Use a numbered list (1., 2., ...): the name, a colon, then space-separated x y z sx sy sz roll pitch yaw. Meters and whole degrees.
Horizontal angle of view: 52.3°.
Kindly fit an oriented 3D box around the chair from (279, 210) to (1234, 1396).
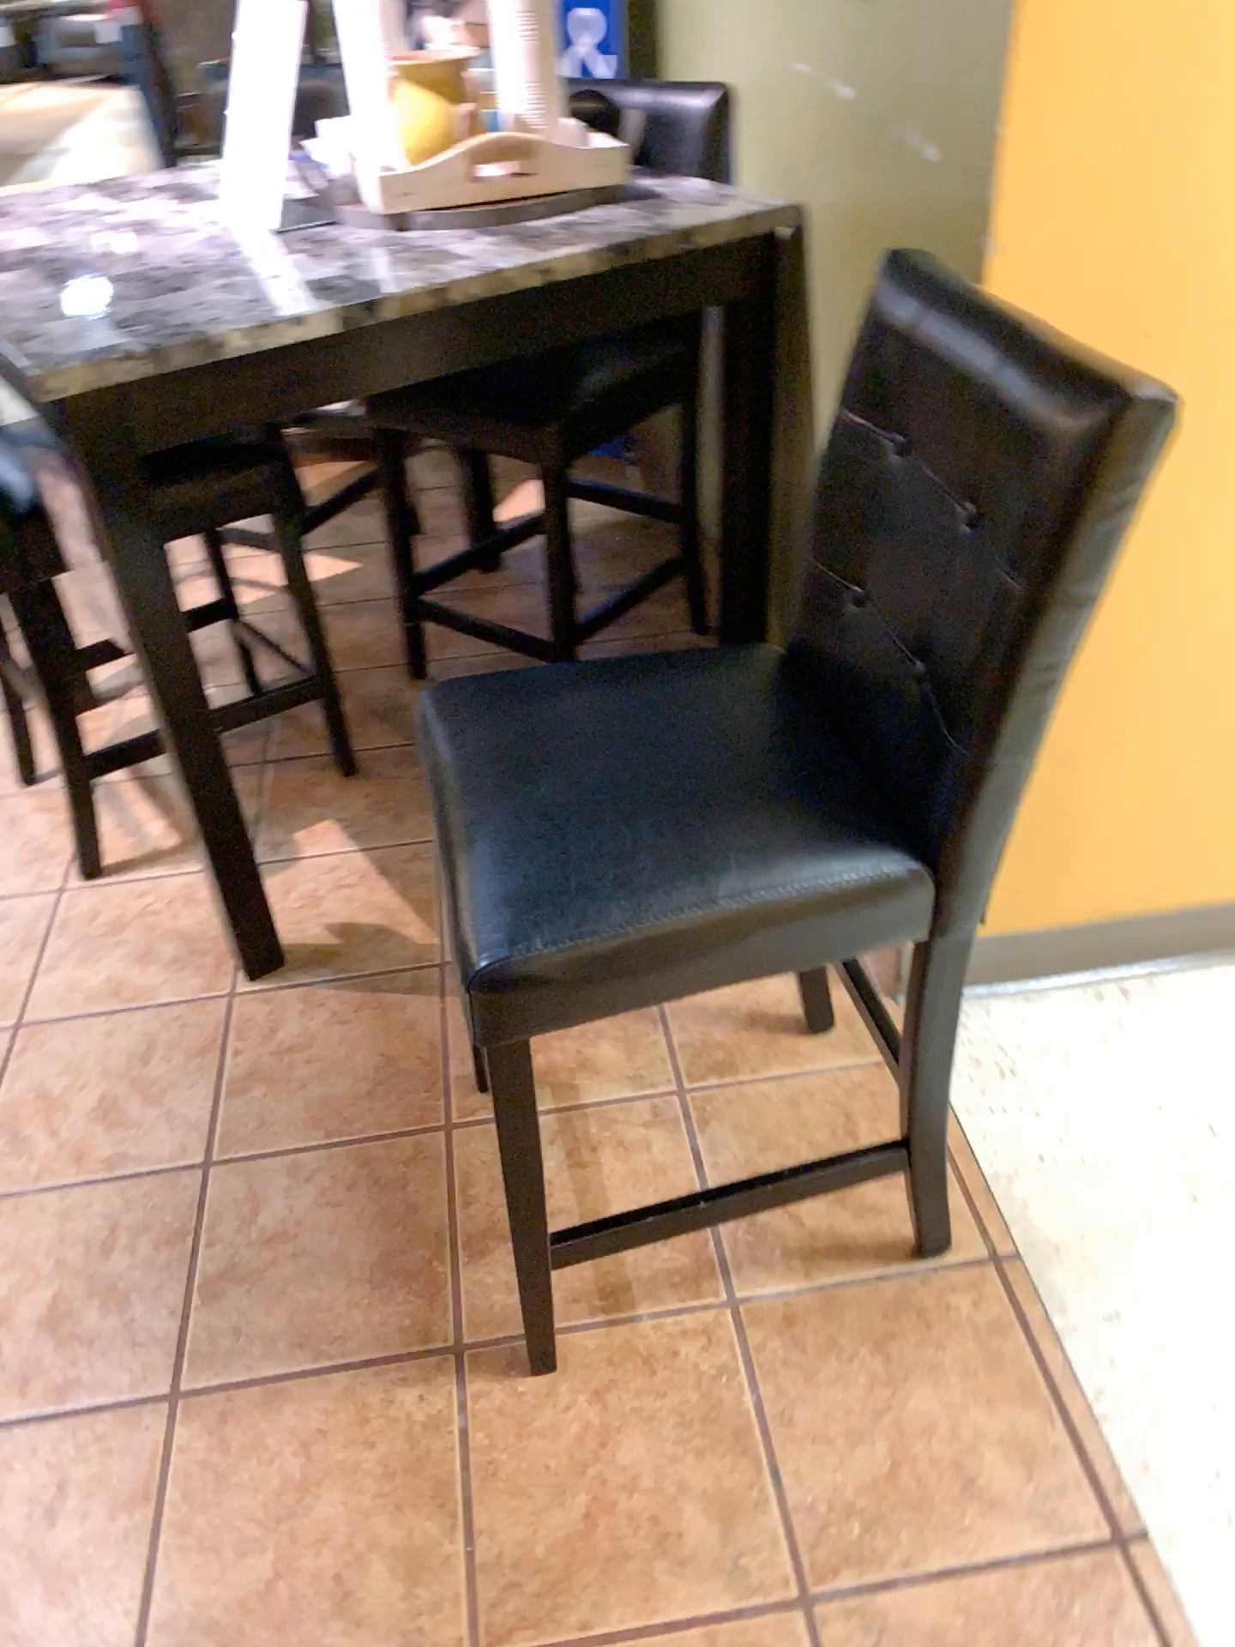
1. chair: 0.085 0.002 1.238 0.618 0.961 0.501 -10 37 -8
